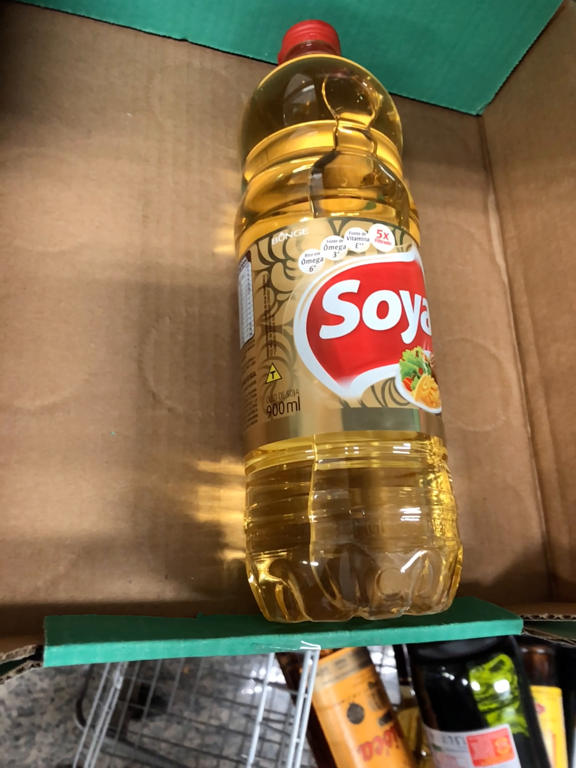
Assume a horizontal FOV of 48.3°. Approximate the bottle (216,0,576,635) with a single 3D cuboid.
[{"bbox_3d":[0.027,-0.034,0.218,0.080,0.070,0.210,3,73,-22],"label":"bottle"}]
